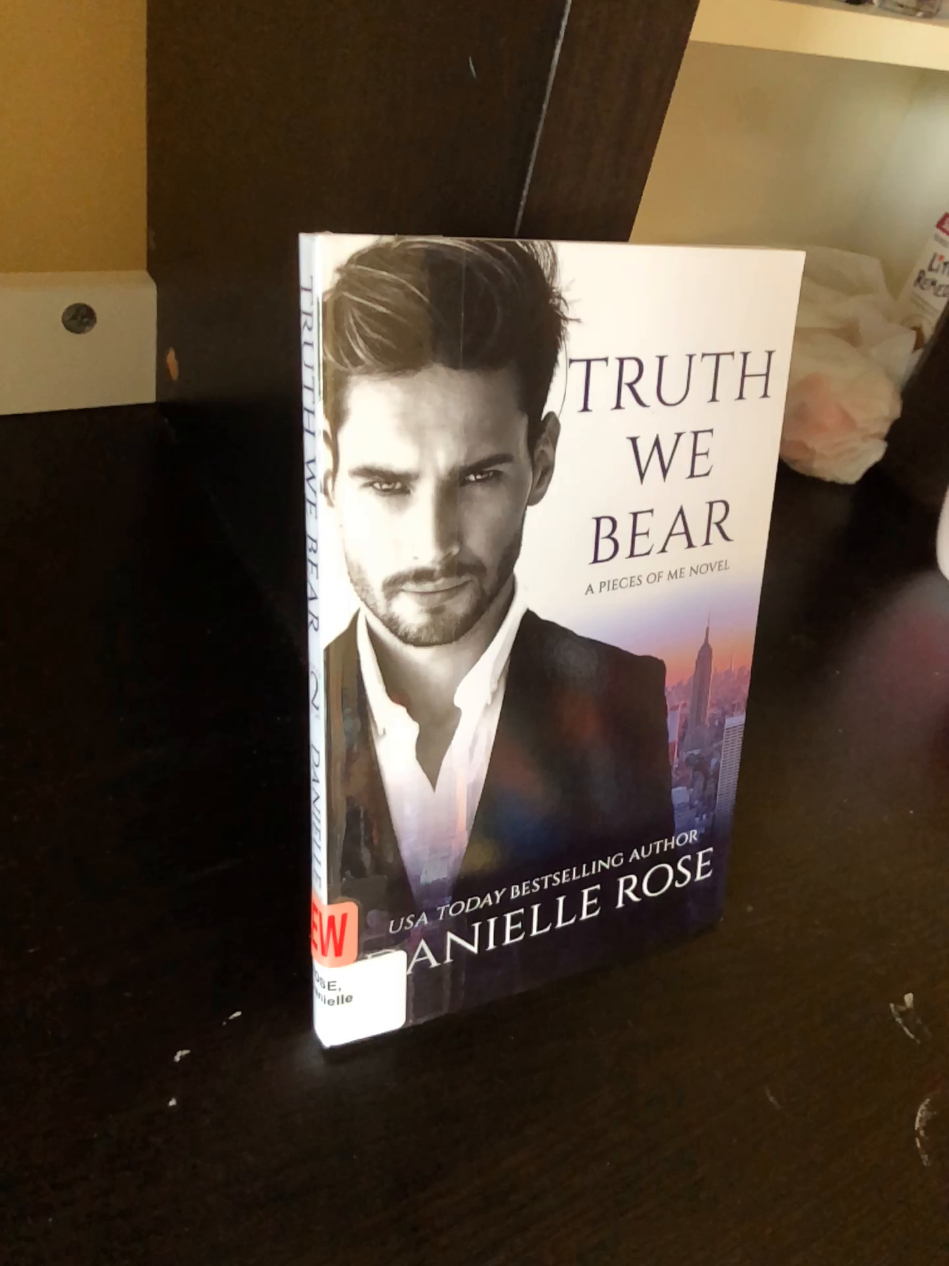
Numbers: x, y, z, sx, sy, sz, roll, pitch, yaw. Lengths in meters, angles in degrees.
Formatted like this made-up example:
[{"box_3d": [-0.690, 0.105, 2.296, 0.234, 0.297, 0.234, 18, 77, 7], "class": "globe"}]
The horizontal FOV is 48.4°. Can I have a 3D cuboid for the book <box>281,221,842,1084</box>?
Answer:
[{"box_3d": [0.023, 0.007, 0.293, 0.150, 0.220, 0.020, -10, 25, -29], "class": "book"}]
